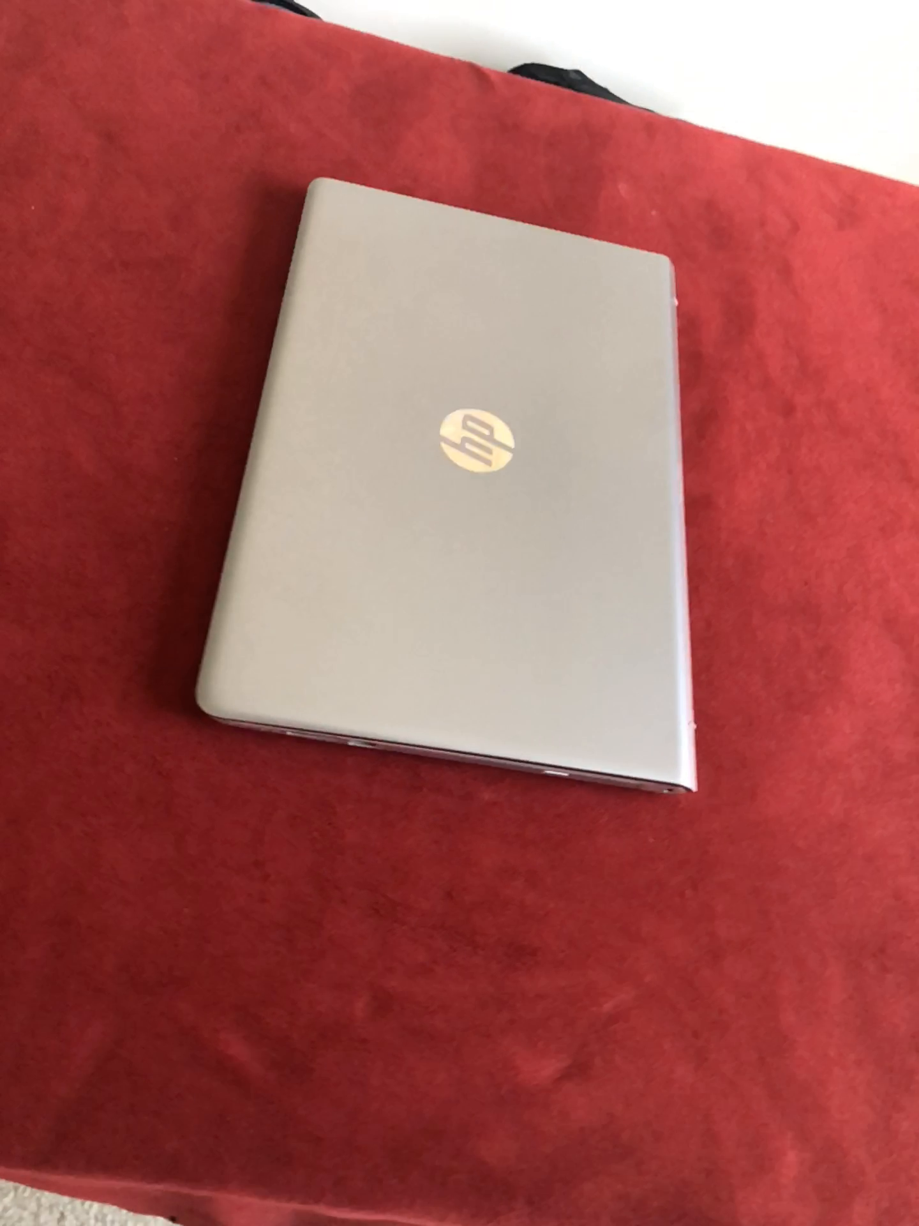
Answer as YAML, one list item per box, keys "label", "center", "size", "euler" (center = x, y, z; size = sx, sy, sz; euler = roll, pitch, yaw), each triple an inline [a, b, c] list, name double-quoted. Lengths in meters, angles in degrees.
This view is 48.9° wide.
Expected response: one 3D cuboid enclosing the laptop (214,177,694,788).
- label: "laptop"
  center: [0.014, -0.096, 0.573]
  size: [0.233, 0.006, 0.373]
  euler: [9, 61, -7]
